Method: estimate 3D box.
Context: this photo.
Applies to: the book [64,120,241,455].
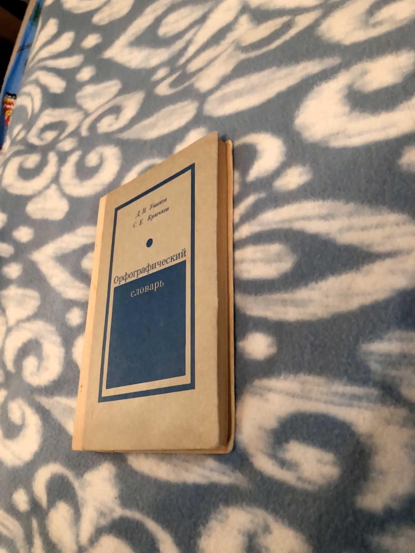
[{"bbox_3d":[-0.039,0.011,0.320,0.137,0.022,0.210,-18,61,39],"label":"book"}]
